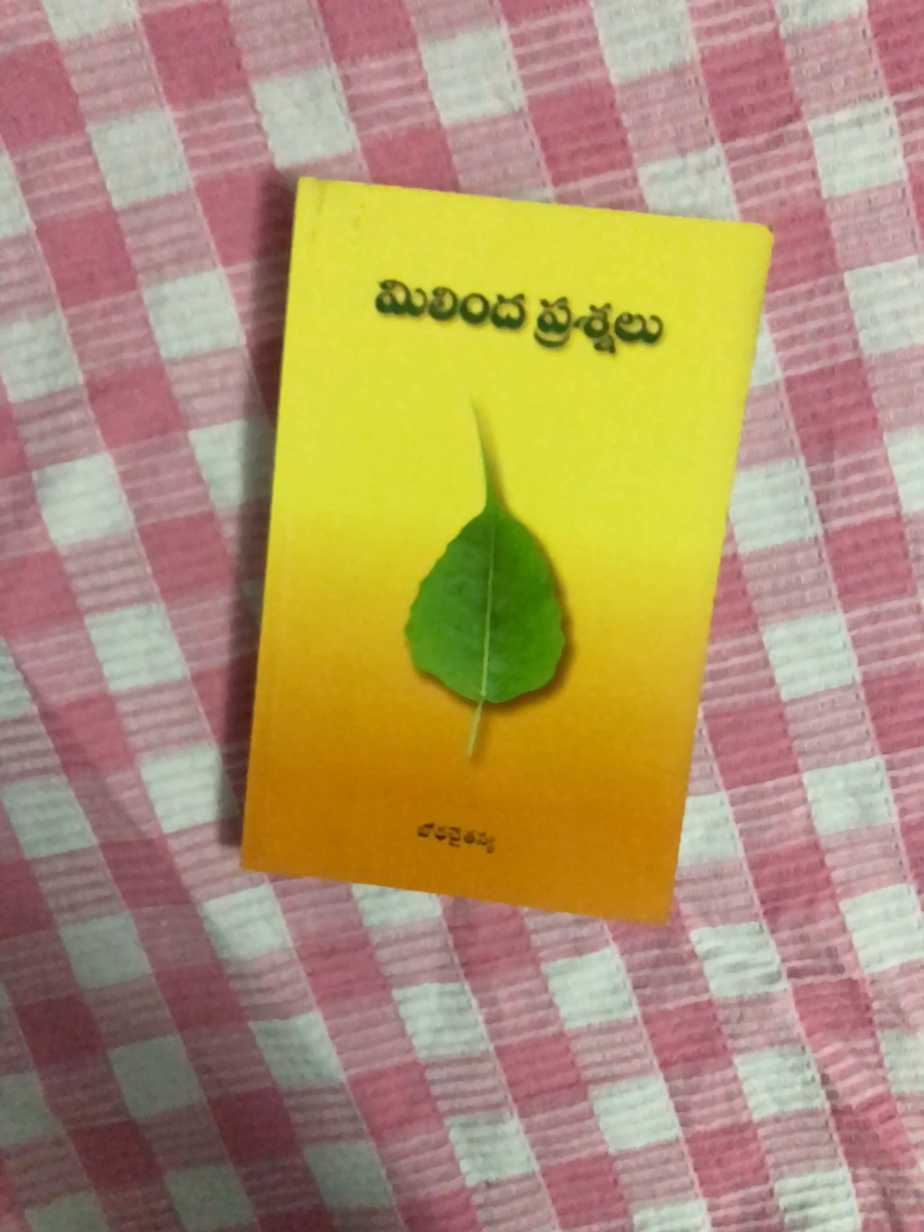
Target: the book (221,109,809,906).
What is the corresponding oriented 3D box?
[{"bbox_3d":[0.011,-0.027,0.316,0.150,0.020,0.220,6,99,0],"label":"book"}]
